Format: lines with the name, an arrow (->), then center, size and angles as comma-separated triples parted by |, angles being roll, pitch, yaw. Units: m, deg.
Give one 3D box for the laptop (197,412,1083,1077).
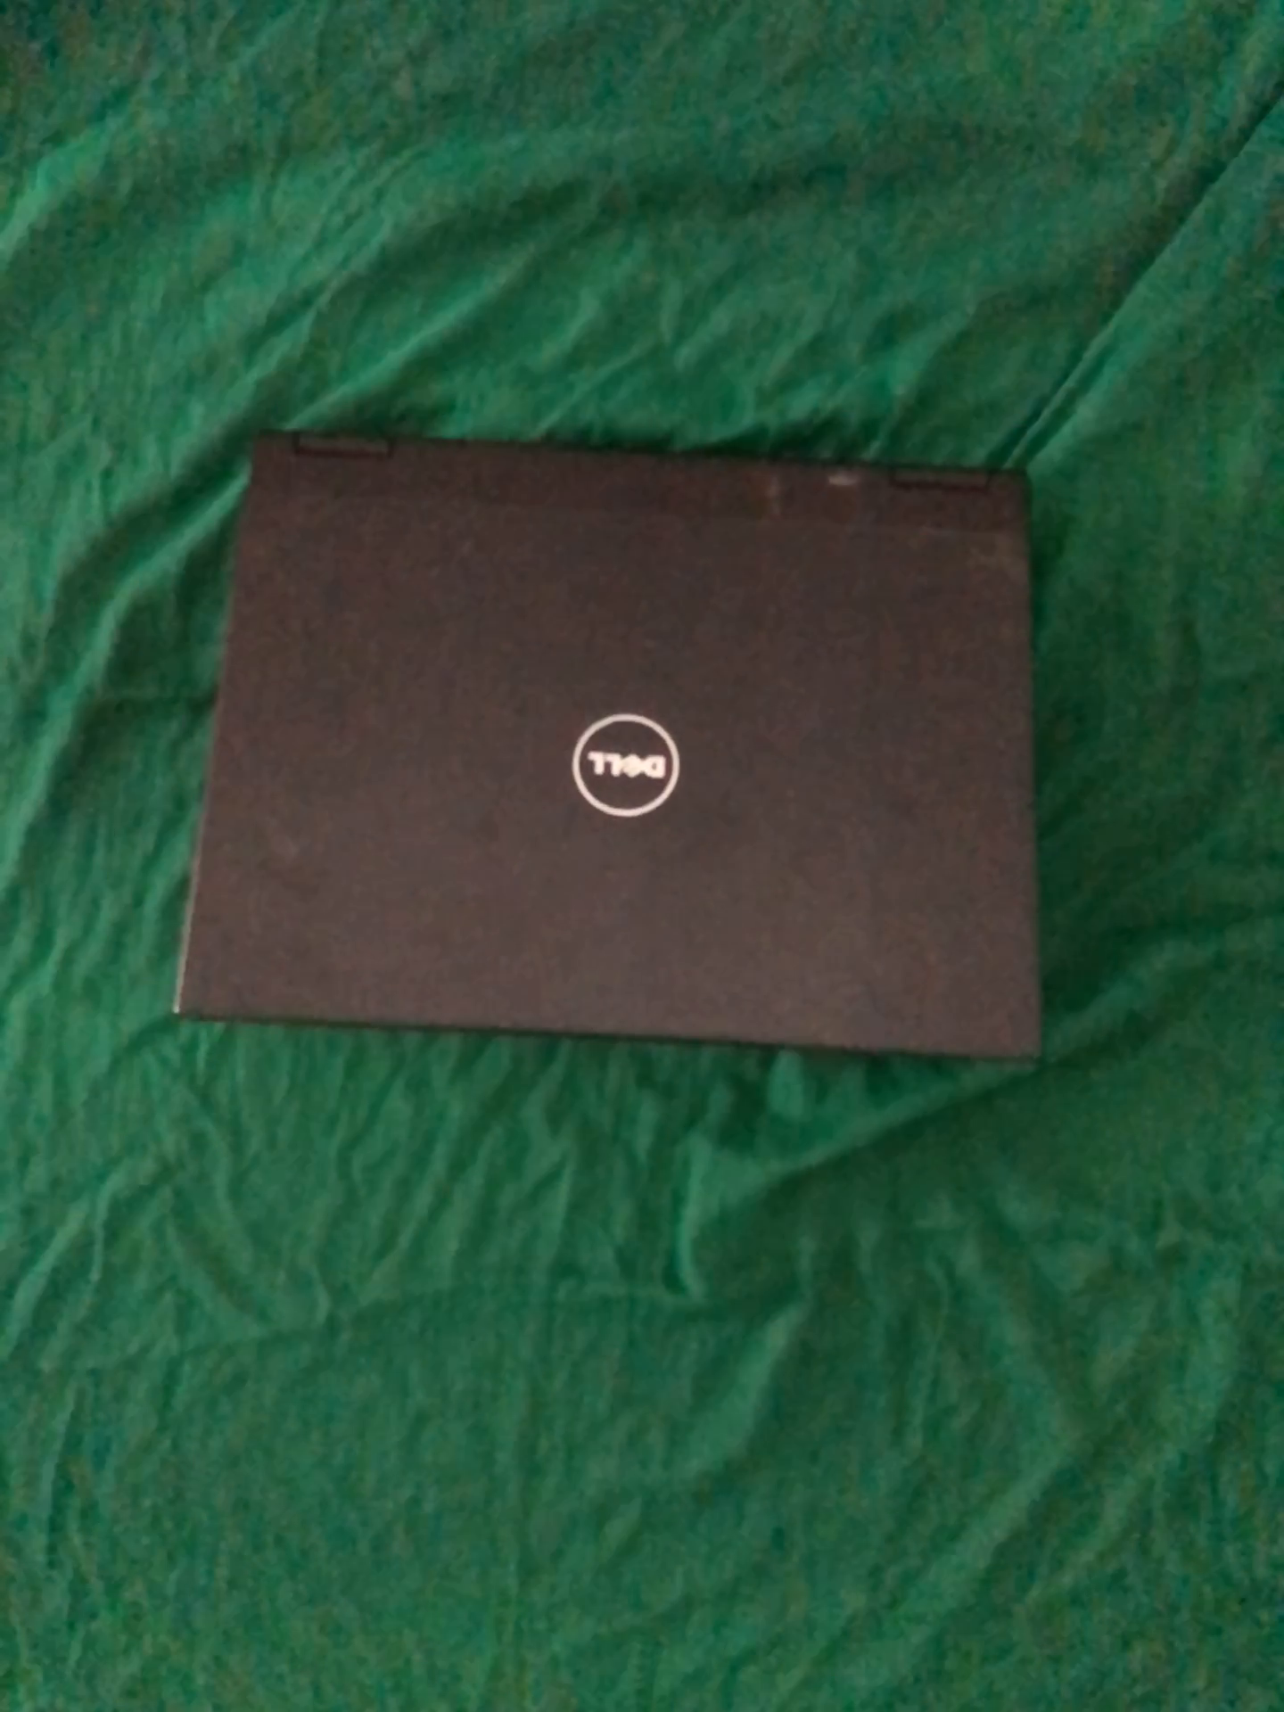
laptop -> -0.006, -0.038, 0.549 | 0.306, 0.066, 0.226 | 3, 98, 0
